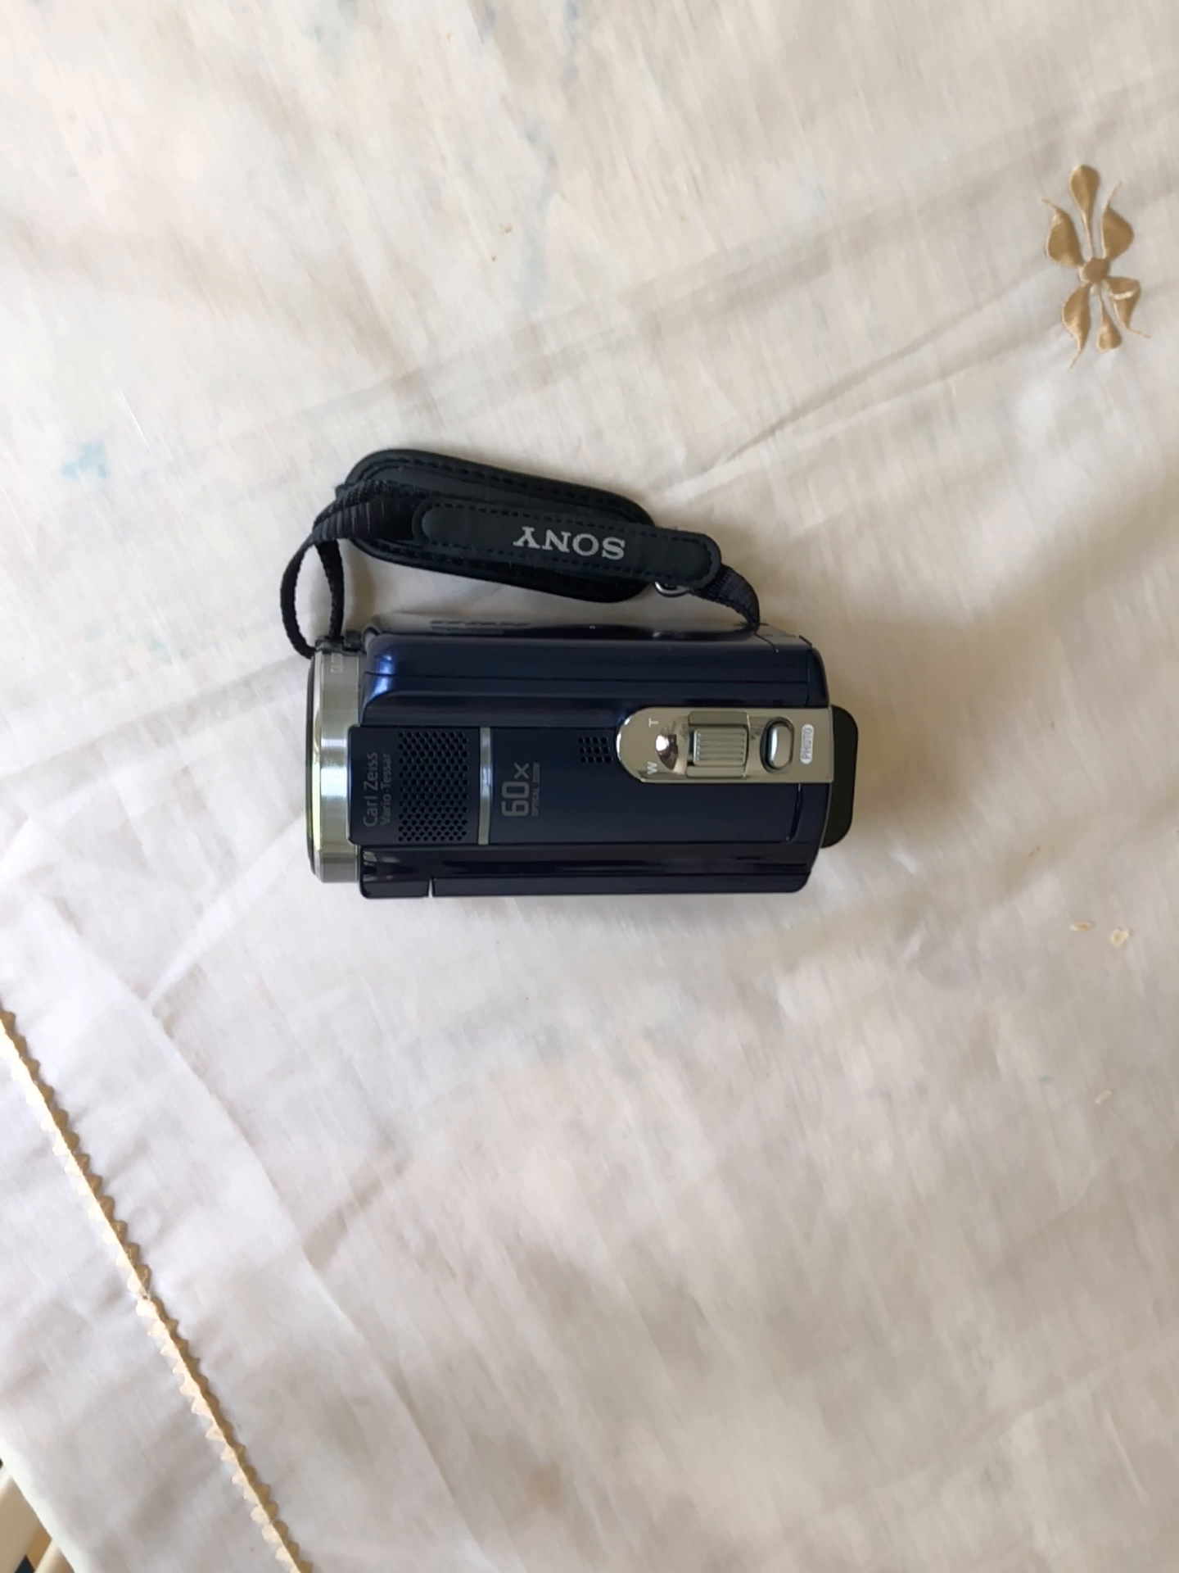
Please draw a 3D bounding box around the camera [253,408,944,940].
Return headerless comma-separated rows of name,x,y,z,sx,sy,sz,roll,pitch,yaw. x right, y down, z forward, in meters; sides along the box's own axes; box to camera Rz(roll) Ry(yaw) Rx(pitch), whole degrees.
camera,-0.003,-0.023,0.265,0.119,0.070,0.090,1,101,-9
